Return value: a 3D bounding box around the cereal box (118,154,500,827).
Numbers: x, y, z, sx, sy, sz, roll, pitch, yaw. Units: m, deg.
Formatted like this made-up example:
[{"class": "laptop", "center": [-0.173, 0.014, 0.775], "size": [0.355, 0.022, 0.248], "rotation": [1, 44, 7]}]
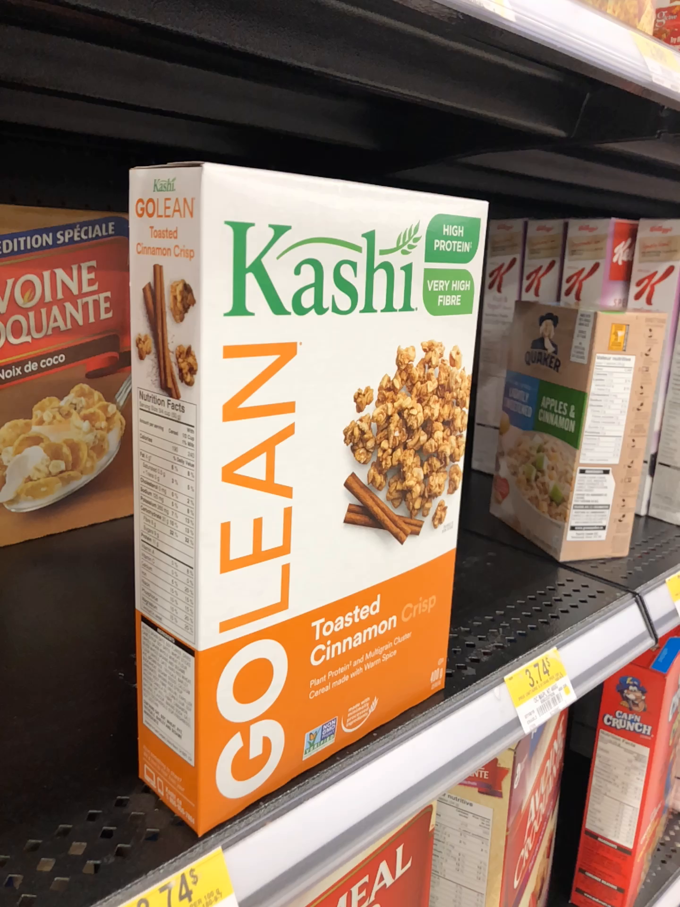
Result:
[{"class": "cereal box", "center": [-0.008, 0.008, 0.343], "size": [0.050, 0.249, 0.170], "rotation": [16, 19, 43]}]
